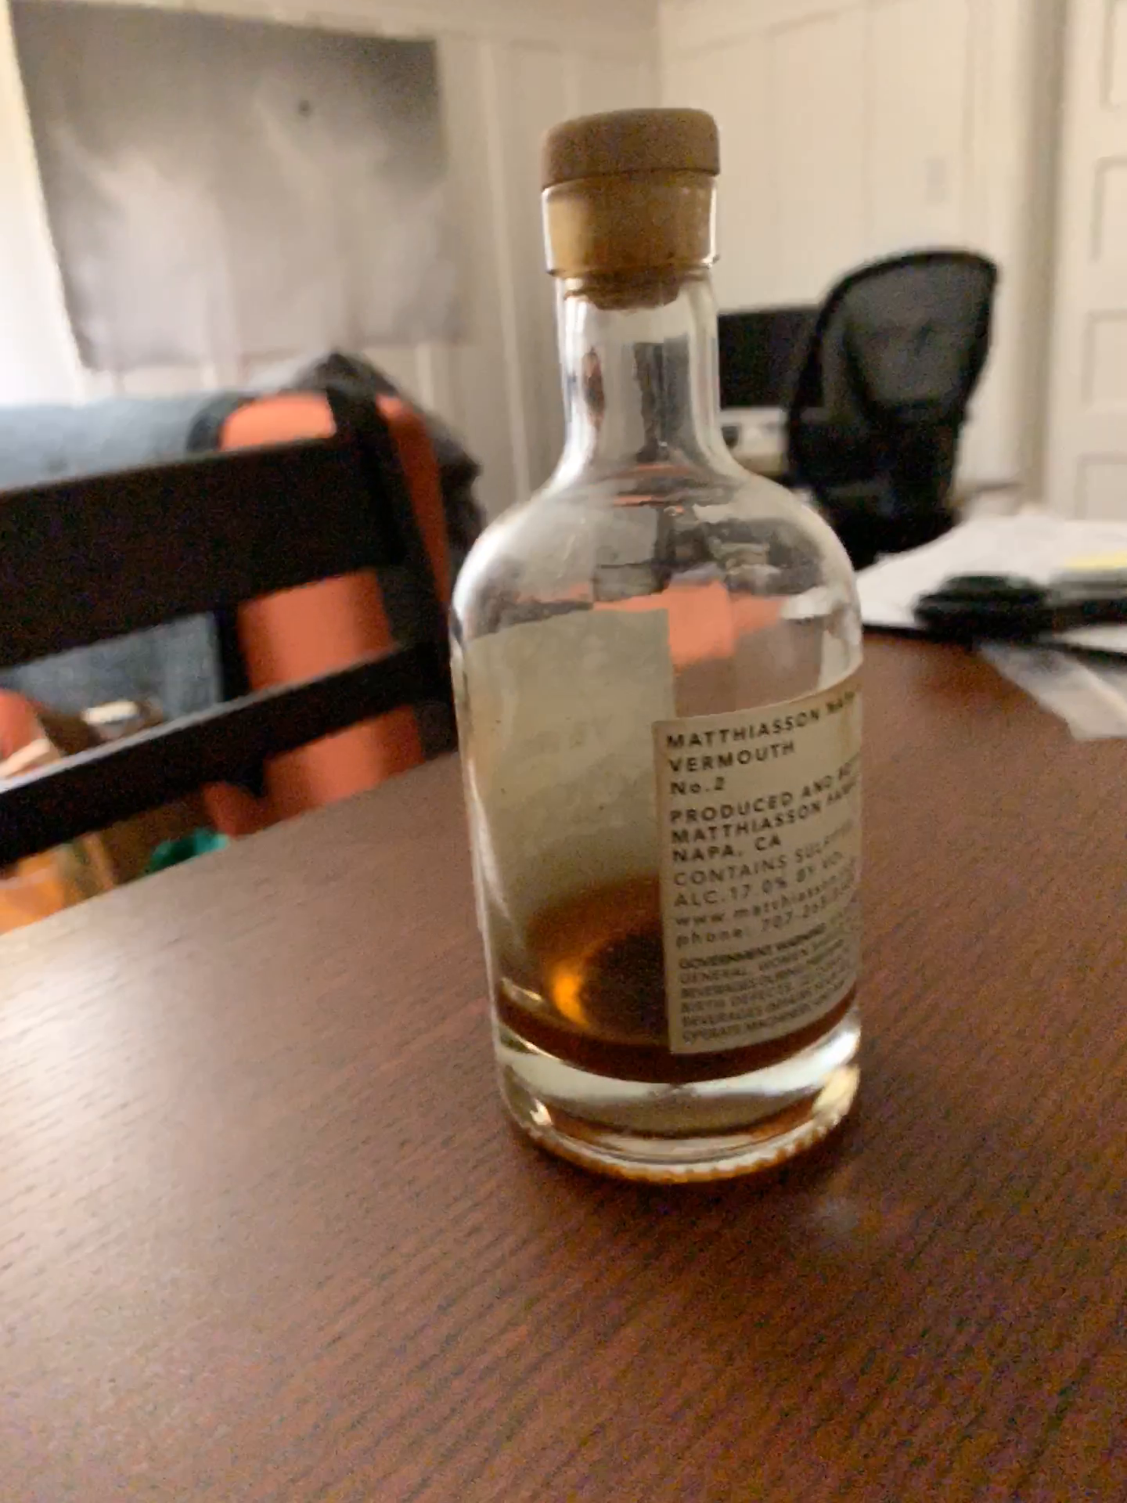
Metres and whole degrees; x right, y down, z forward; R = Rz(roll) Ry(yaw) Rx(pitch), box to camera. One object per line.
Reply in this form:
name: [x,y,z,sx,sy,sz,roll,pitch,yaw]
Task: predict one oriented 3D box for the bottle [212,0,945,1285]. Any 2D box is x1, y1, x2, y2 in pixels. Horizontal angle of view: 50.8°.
bottle: [0.011,-0.021,0.223,0.080,0.189,0.090,12,25,39]
